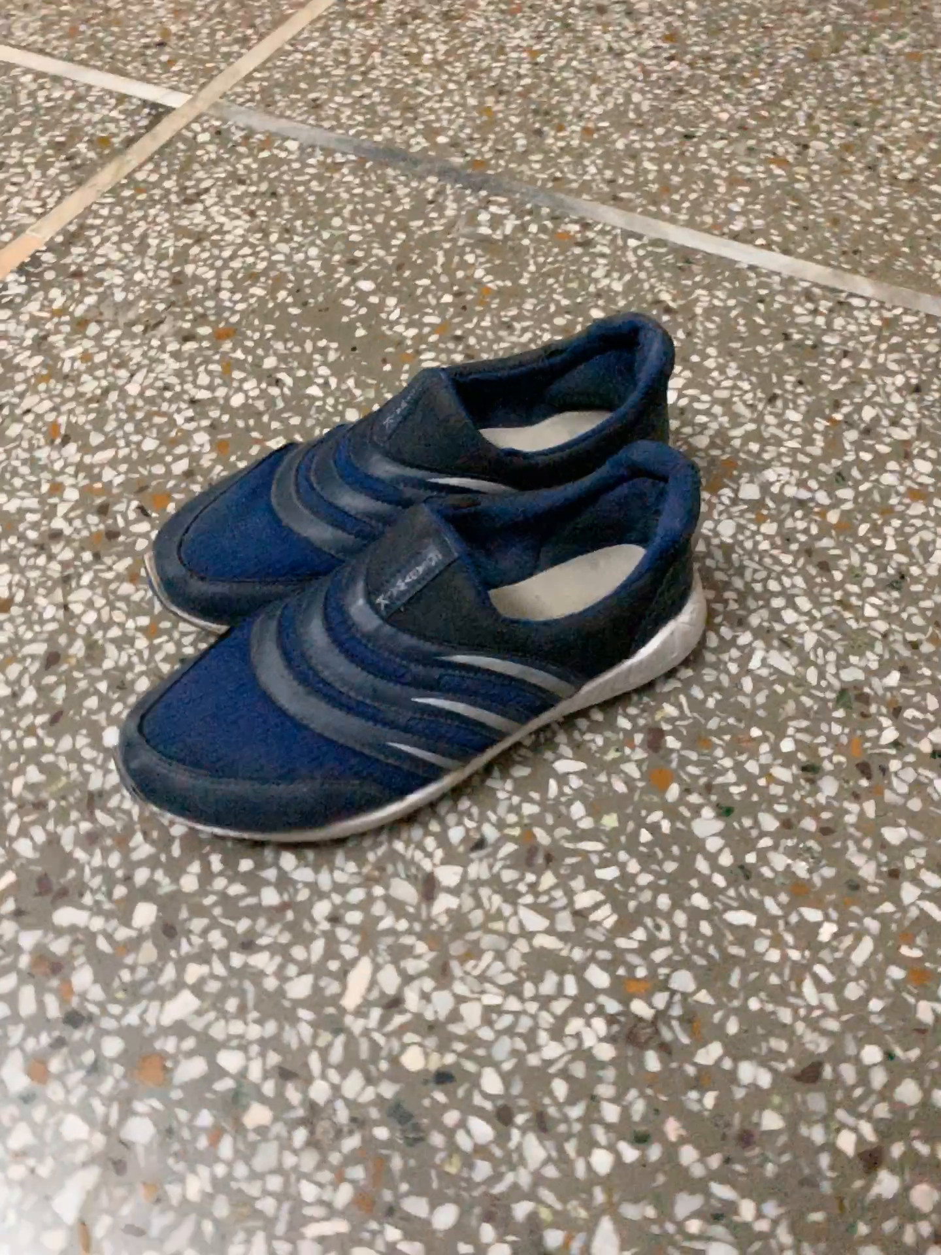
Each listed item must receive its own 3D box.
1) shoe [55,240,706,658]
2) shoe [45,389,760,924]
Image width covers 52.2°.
[{"bbox_3d":[-0.040,-0.095,0.478,0.283,0.080,0.104,-20,58,-14],"label":"shoe"},{"bbox_3d":[-0.023,0.006,0.437,0.280,0.096,0.104,-25,59,-16],"label":"shoe"}]
